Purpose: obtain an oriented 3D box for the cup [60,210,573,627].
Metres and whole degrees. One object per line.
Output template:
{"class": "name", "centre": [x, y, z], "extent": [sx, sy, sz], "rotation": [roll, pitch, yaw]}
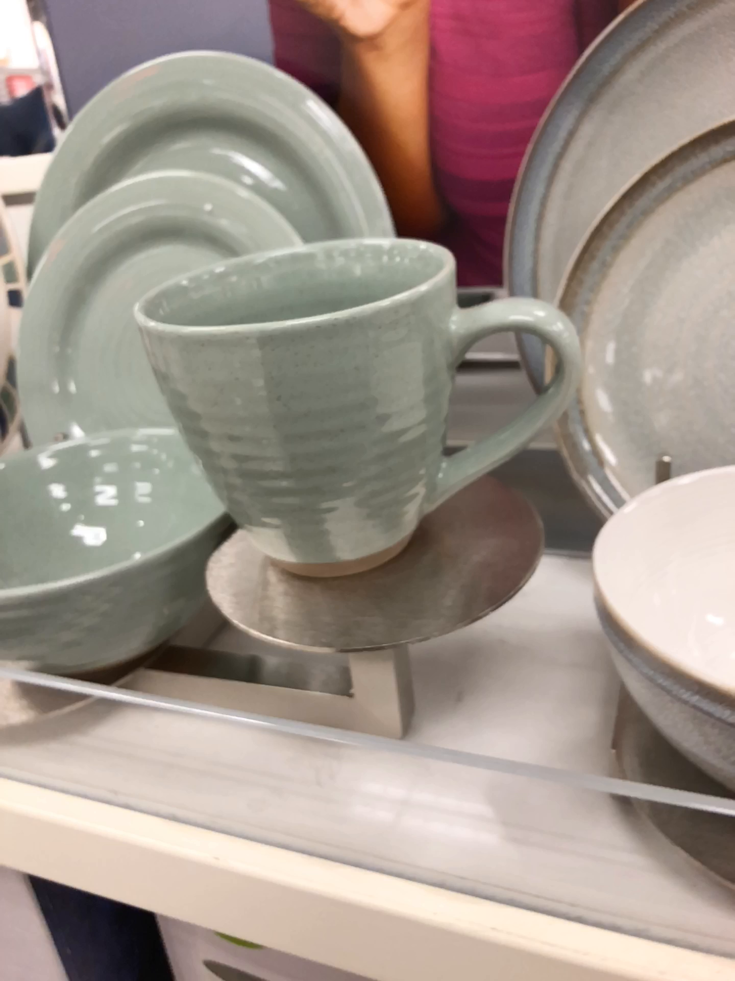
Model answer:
{"class": "cup", "centre": [-0.001, -0.029, 0.272], "extent": [0.129, 0.091, 0.116], "rotation": [-1, 27, 14]}
